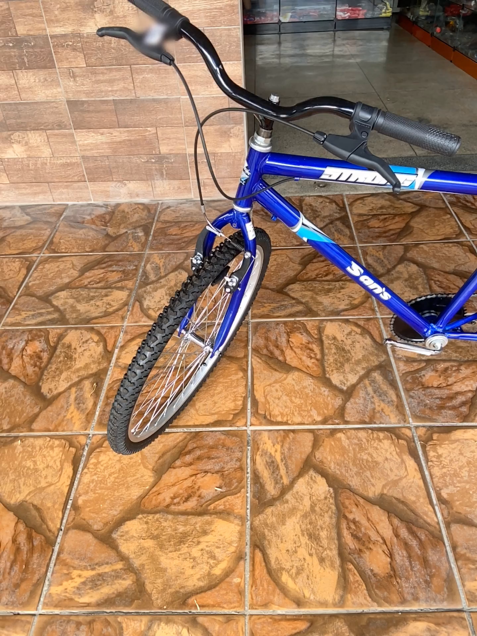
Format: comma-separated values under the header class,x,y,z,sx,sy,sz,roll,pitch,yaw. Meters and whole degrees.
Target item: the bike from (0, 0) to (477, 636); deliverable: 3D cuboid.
class,x,y,z,sx,sy,sz,roll,pitch,yaw
bike,0.453,0.033,0.946,1.525,1.013,0.575,-13,40,-5
